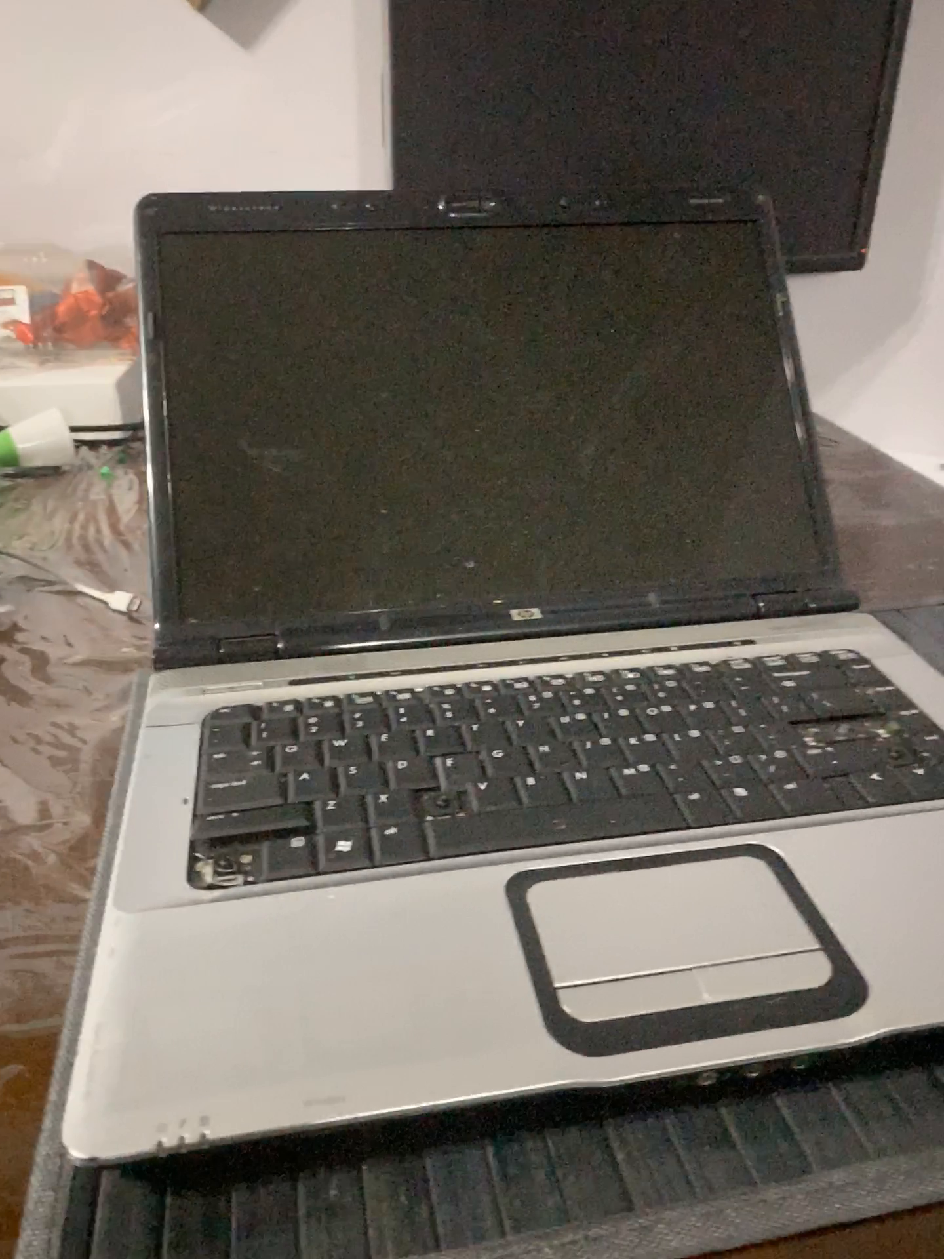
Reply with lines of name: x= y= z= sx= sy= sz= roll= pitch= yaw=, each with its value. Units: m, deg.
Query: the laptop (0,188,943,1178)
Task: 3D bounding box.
laptop: x=0.030 y=-0.062 z=0.399 sx=0.349 sy=0.186 sz=0.404 roll=-5 pitch=29 yaw=-10
